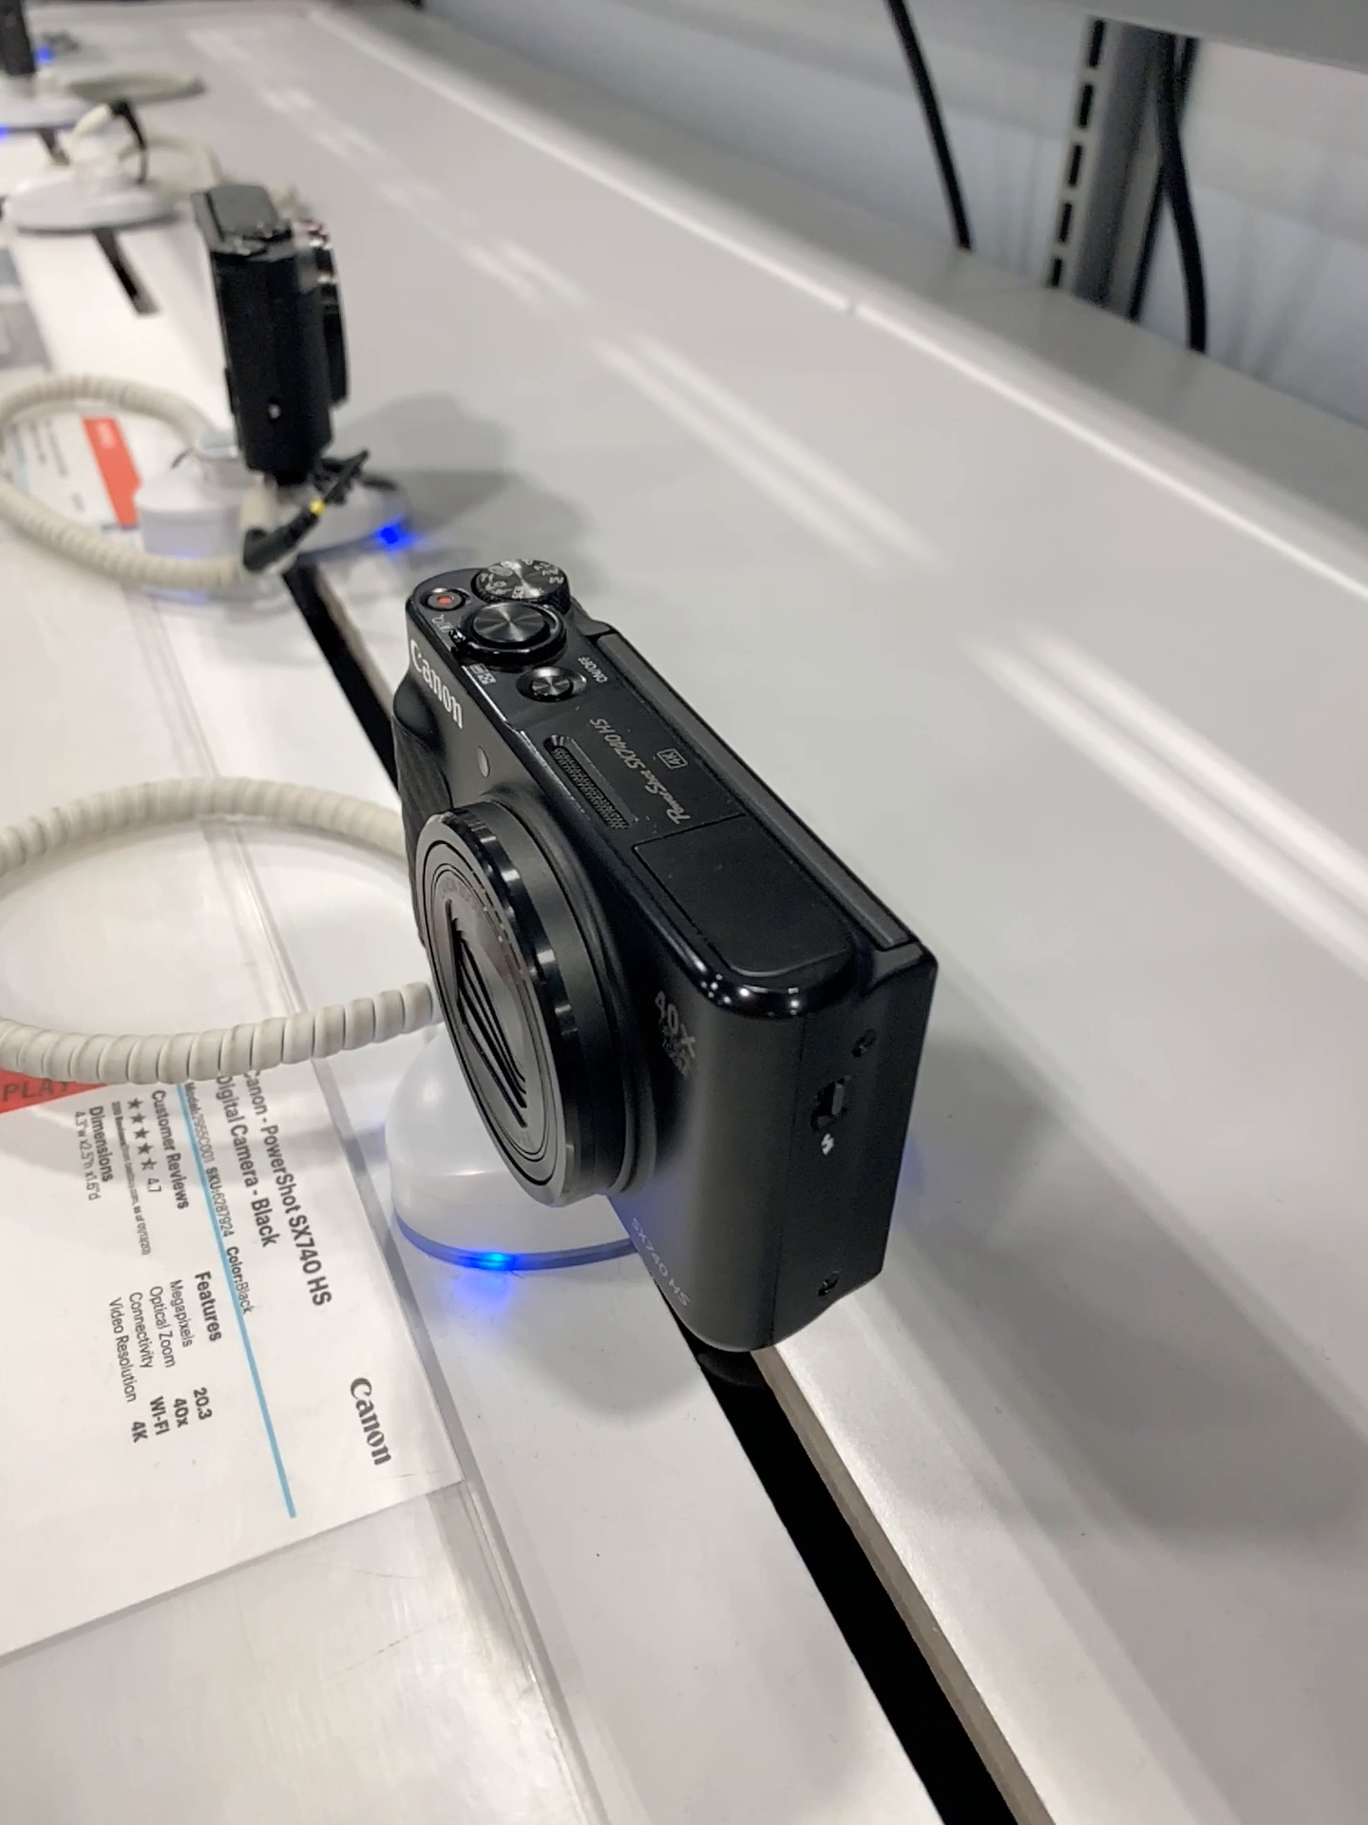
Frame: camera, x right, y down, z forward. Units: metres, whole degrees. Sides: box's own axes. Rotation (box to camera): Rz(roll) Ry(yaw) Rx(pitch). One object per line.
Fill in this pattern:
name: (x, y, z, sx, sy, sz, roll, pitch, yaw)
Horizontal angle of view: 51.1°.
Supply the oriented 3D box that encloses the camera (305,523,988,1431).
camera: (-0.014, 0.000, 0.208, 0.041, 0.063, 0.121, -16, 43, -22)
